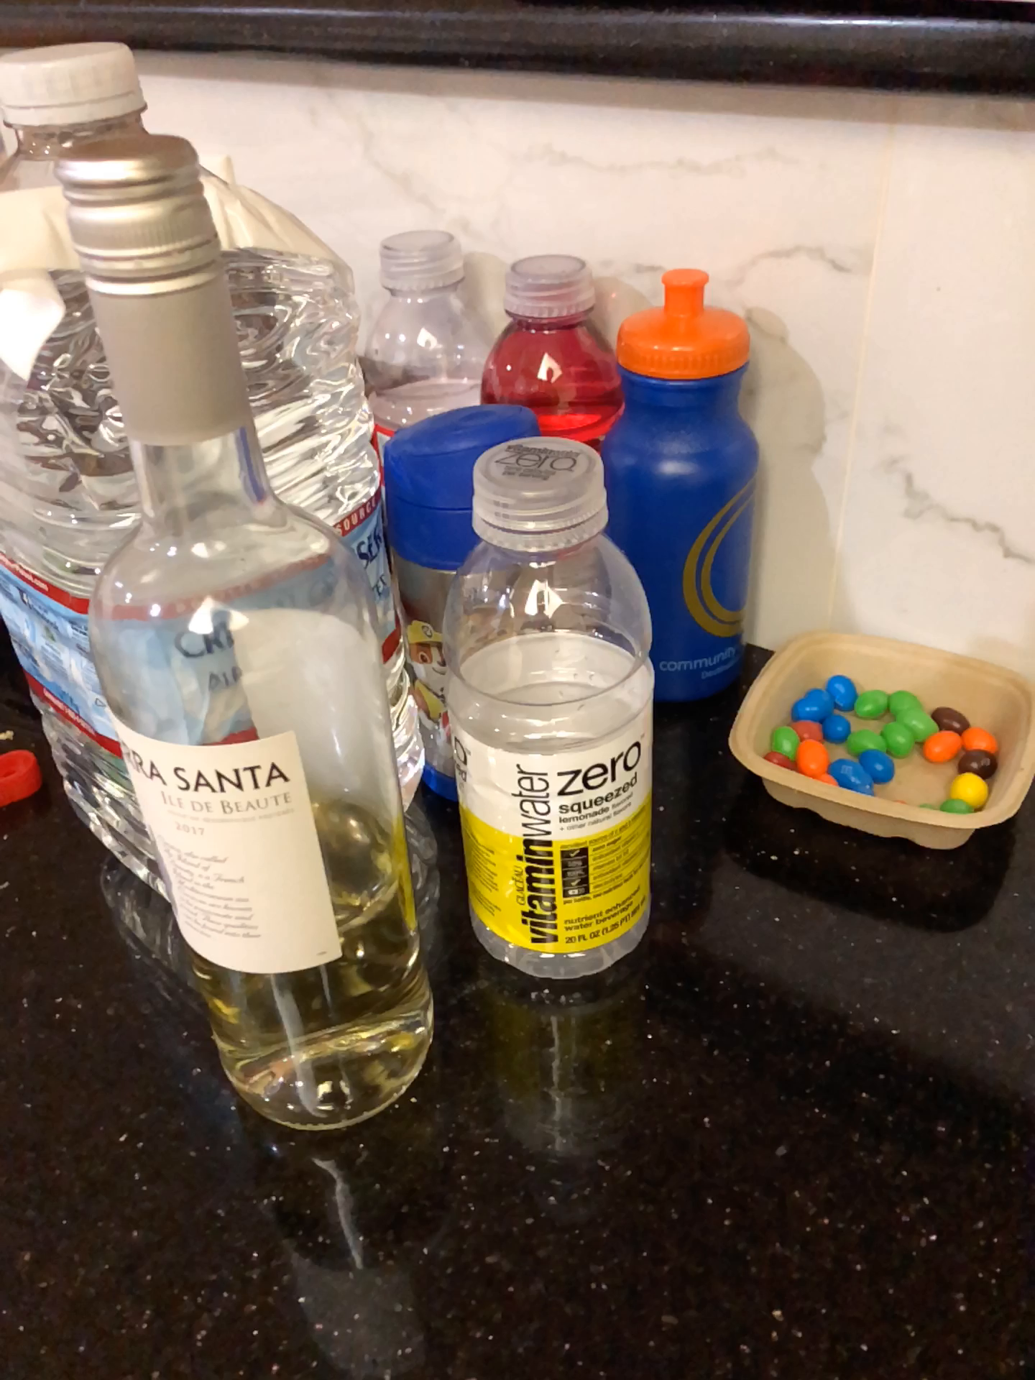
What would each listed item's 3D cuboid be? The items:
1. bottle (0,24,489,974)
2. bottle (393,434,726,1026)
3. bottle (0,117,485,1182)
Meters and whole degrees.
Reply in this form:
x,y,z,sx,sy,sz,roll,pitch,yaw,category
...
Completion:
x,y,z,sx,sy,sz,roll,pitch,yaw,category
-0.114,-0.067,0.407,0.130,0.278,0.140,-2,36,2,bottle
0.012,0.015,0.349,0.070,0.159,0.070,-2,36,2,bottle
-0.066,0.007,0.297,0.070,0.268,0.070,-2,36,2,bottle
